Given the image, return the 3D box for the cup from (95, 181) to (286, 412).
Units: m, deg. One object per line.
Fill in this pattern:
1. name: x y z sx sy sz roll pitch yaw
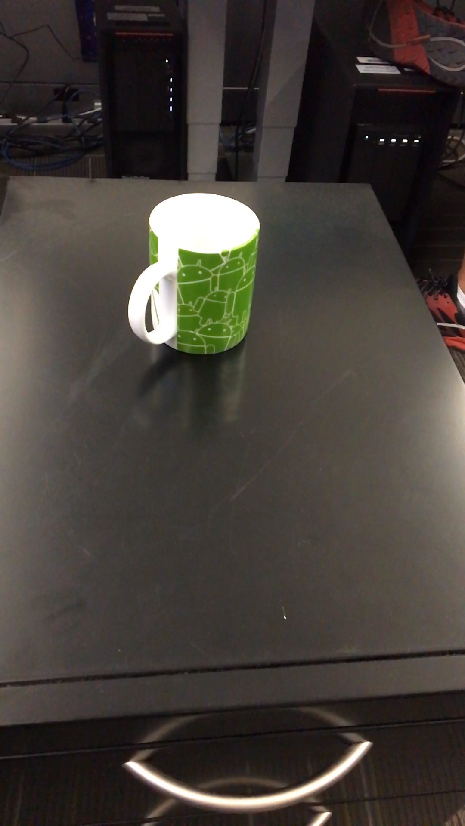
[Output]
1. cup: -0.031 -0.093 0.537 0.090 0.110 0.120 23 48 15
